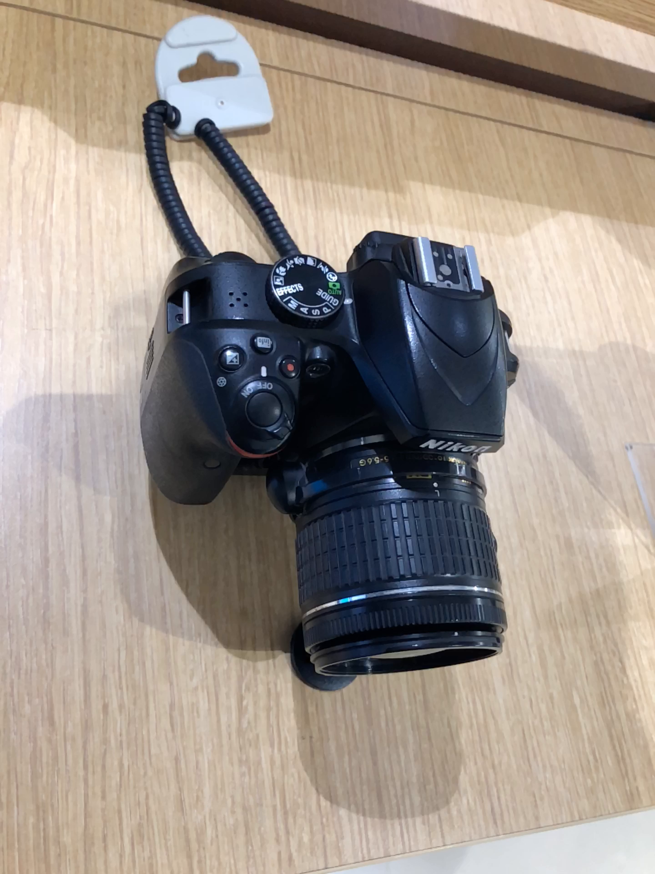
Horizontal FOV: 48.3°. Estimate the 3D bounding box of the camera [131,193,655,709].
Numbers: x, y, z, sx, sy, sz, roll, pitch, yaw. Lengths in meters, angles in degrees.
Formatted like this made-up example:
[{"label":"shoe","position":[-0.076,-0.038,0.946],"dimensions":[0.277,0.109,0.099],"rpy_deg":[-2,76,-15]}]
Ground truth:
[{"label":"camera","position":[0.013,0.011,0.228],"dimensions":[0.133,0.084,0.120],"rpy_deg":[3,65,-22]}]
